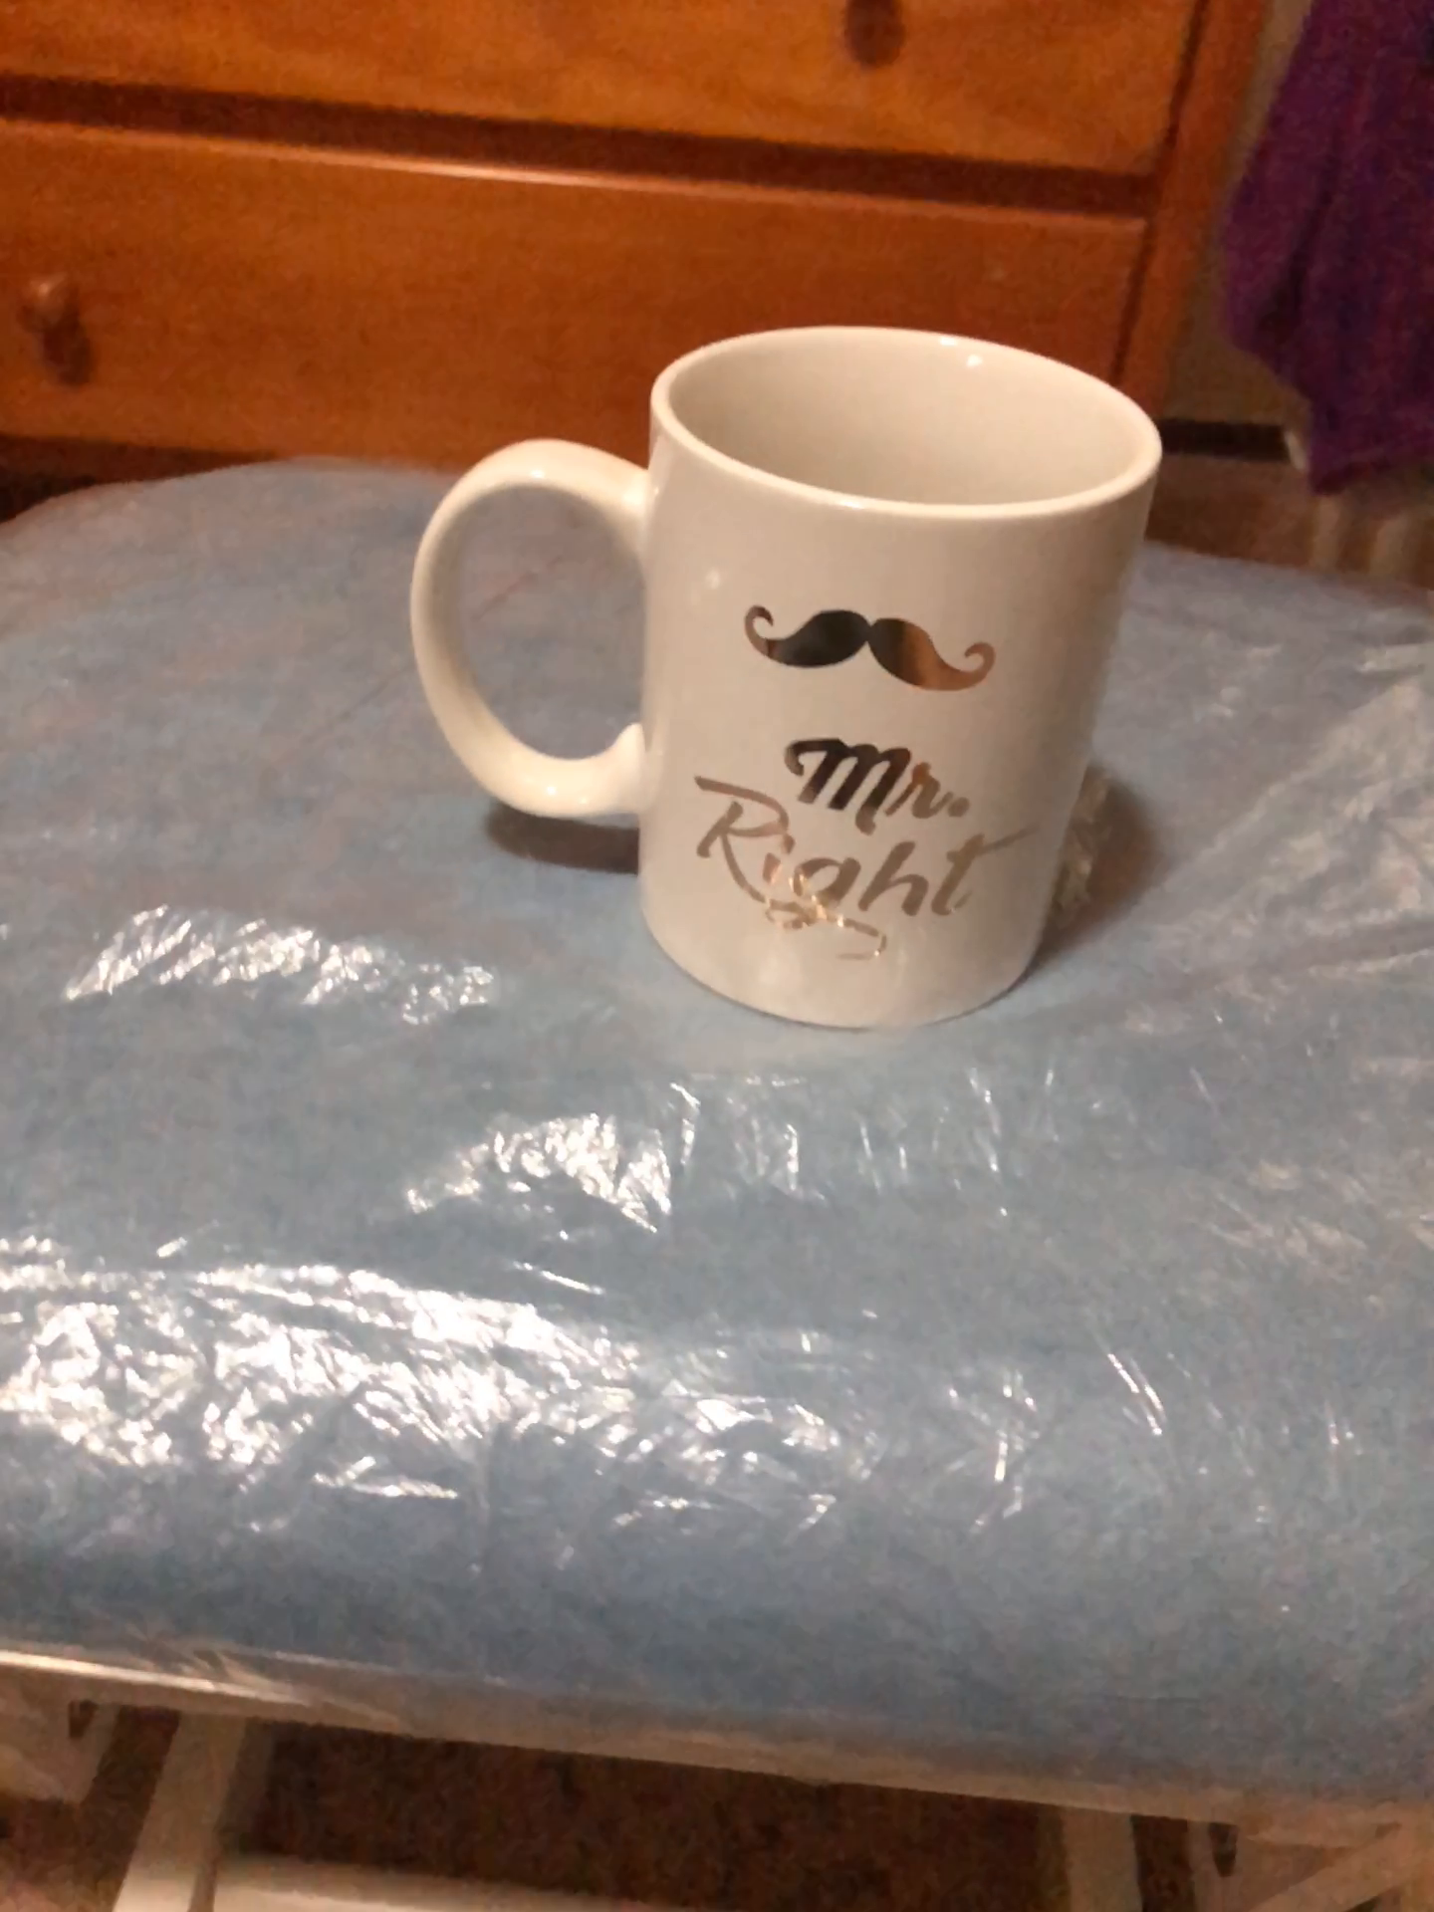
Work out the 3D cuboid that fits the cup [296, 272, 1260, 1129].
[{"bbox_3d":[0.011,-0.052,0.302,0.140,0.110,0.100,8,37,4],"label":"cup"}]
